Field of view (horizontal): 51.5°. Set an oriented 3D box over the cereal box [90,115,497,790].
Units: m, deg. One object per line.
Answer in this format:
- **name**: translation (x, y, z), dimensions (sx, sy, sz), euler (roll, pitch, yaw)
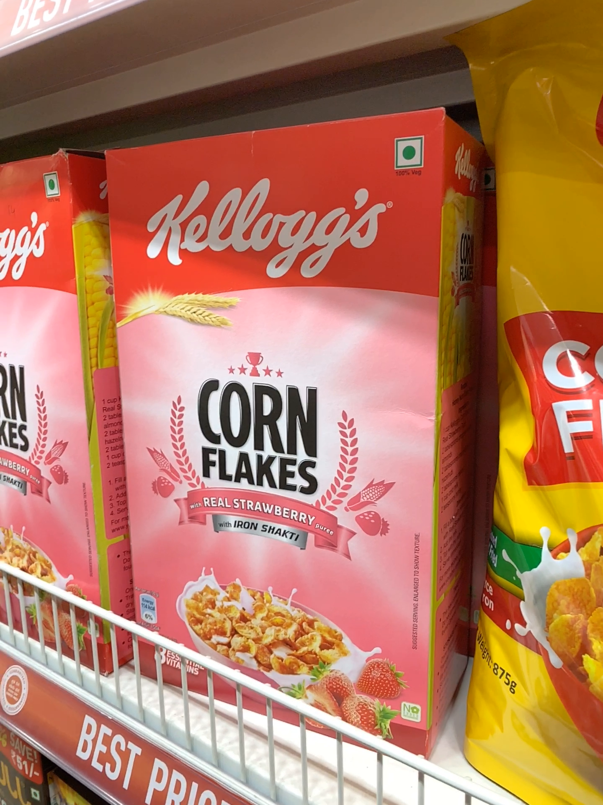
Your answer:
- **cereal box**: translation (-0.001, 0.018, 0.319), dimensions (0.170, 0.269, 0.090), euler (4, 11, 26)
